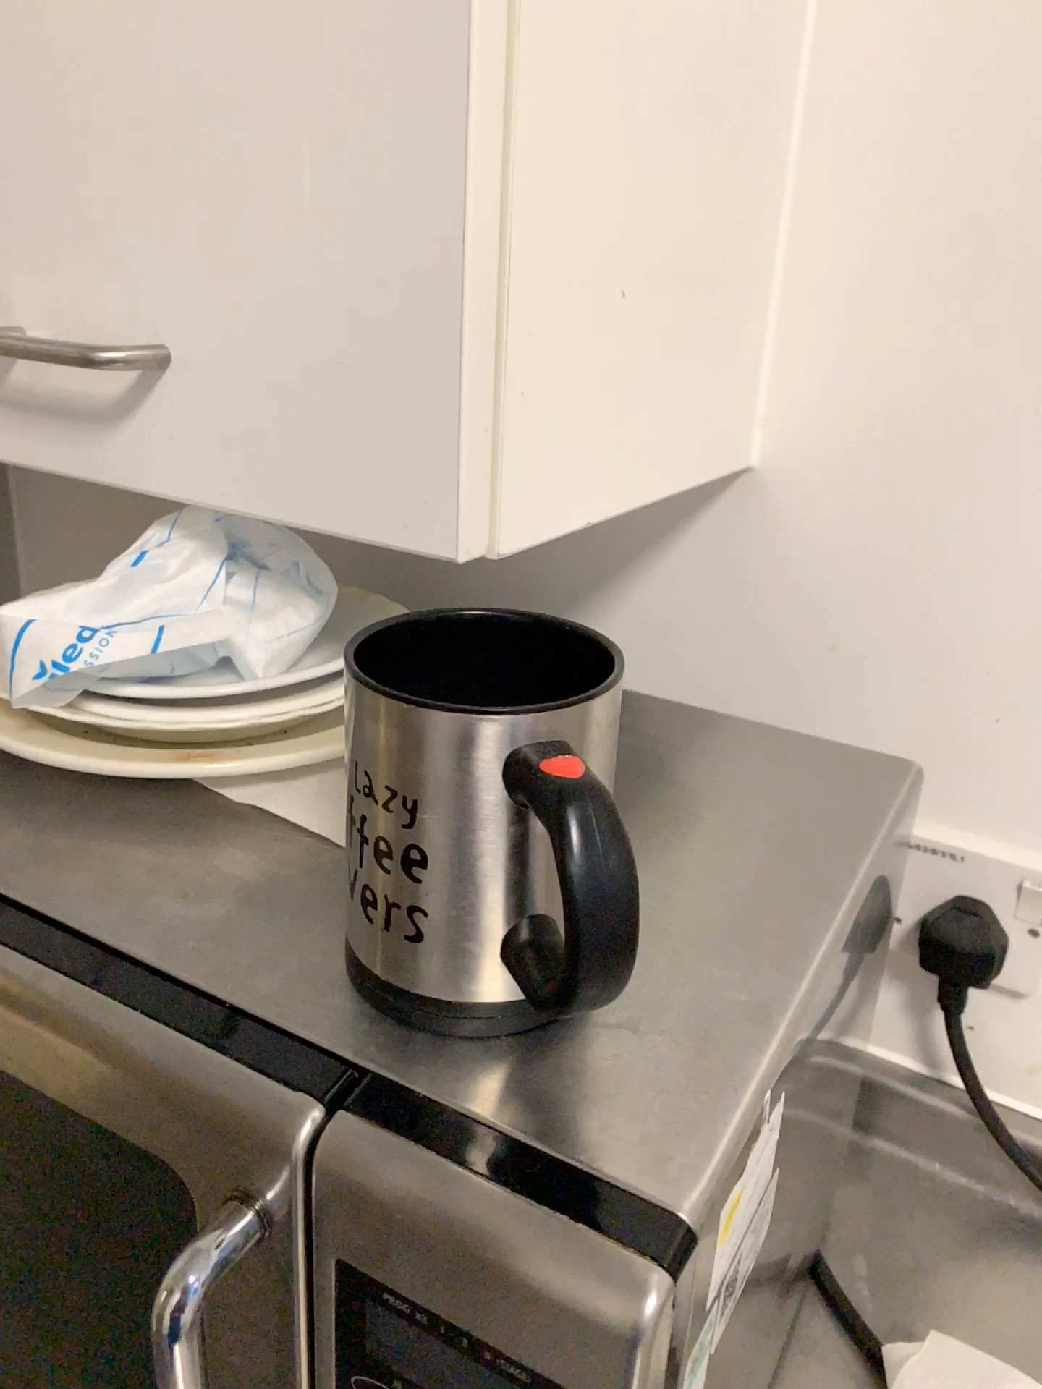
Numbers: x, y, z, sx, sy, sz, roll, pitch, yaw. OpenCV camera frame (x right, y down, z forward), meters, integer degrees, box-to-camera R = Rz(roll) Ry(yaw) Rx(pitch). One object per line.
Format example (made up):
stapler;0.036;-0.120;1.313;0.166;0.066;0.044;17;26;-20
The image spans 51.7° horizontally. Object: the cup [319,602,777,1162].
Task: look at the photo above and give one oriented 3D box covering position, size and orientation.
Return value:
cup;-0.004;0.045;0.338;0.096;0.108;0.134;-4;22;-19
